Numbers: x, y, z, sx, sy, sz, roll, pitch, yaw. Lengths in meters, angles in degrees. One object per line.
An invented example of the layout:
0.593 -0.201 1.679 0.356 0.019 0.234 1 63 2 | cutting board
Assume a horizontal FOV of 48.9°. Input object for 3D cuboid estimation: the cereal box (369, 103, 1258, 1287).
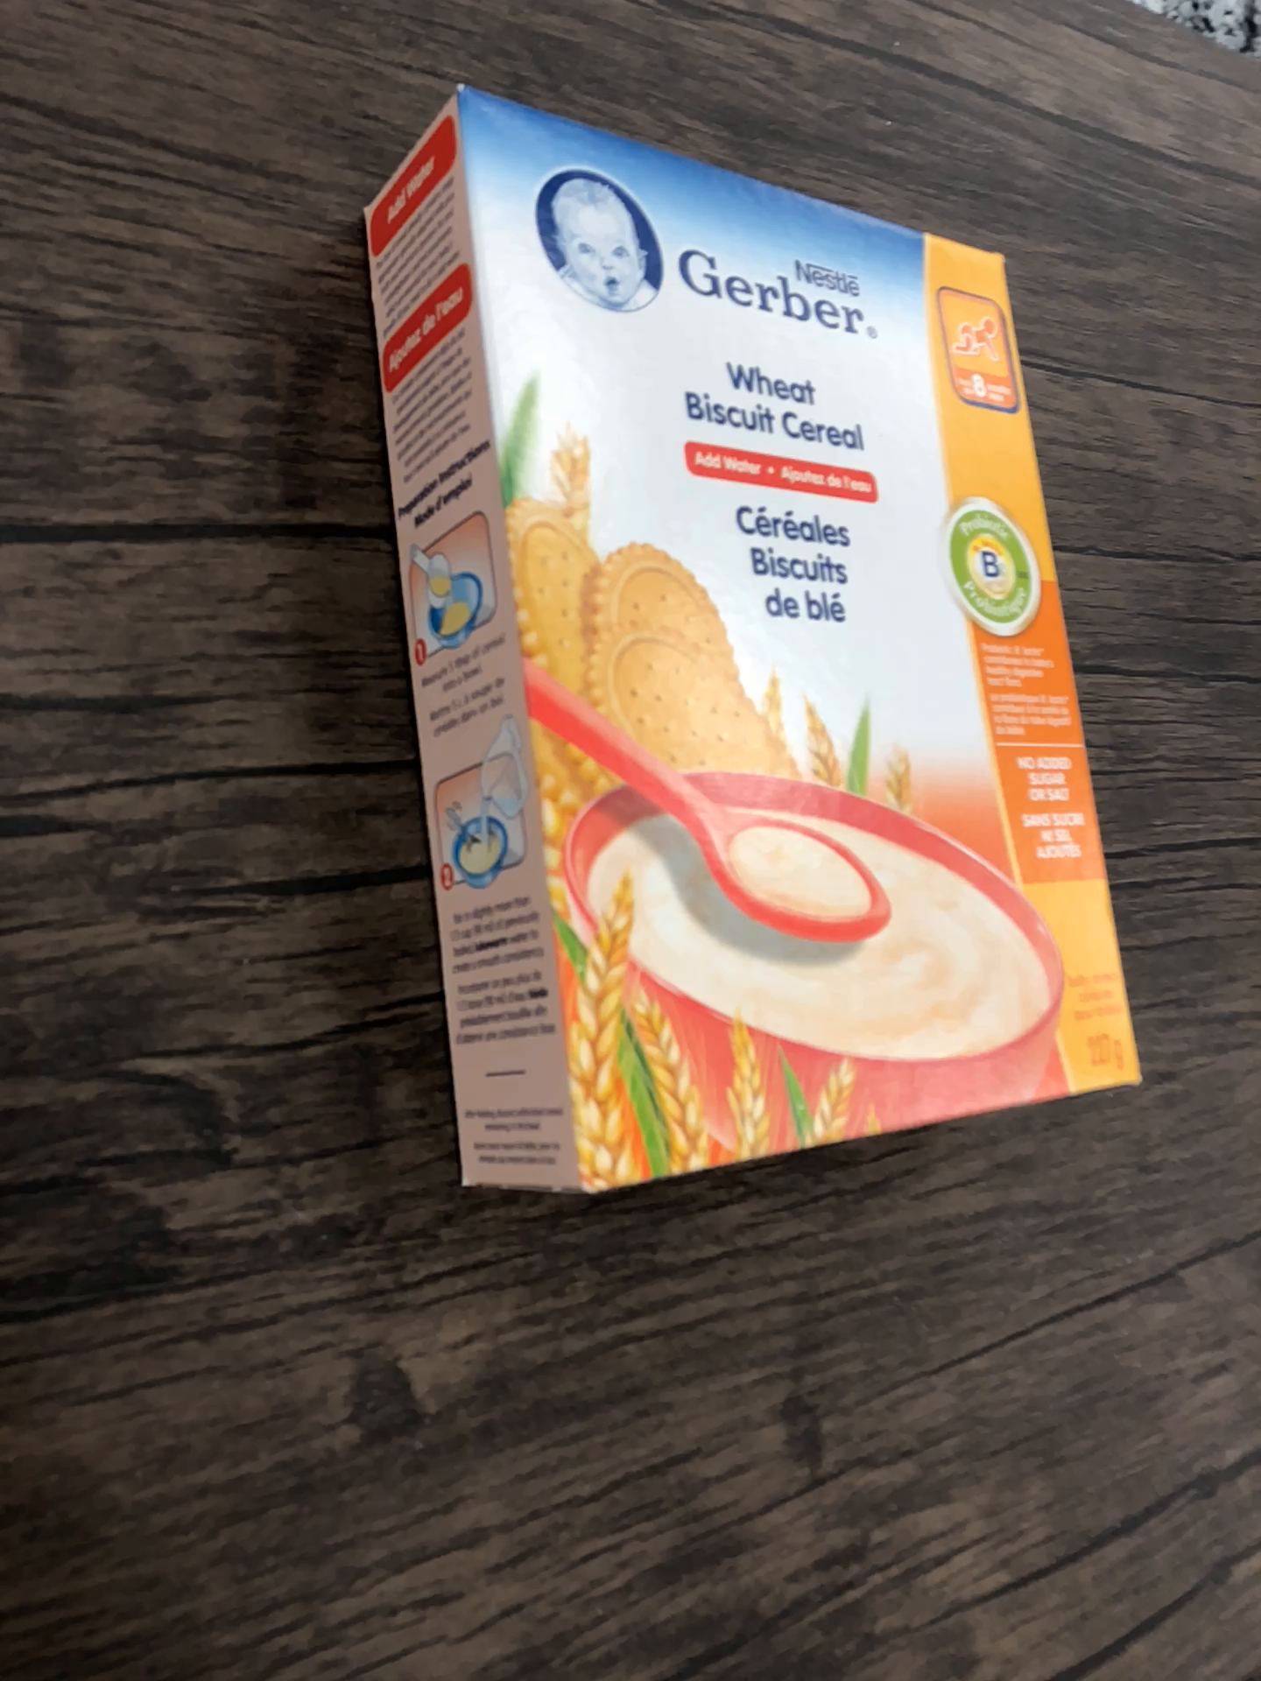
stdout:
0.041 -0.025 0.267 0.161 0.040 0.180 -2 82 -35 | cereal box
